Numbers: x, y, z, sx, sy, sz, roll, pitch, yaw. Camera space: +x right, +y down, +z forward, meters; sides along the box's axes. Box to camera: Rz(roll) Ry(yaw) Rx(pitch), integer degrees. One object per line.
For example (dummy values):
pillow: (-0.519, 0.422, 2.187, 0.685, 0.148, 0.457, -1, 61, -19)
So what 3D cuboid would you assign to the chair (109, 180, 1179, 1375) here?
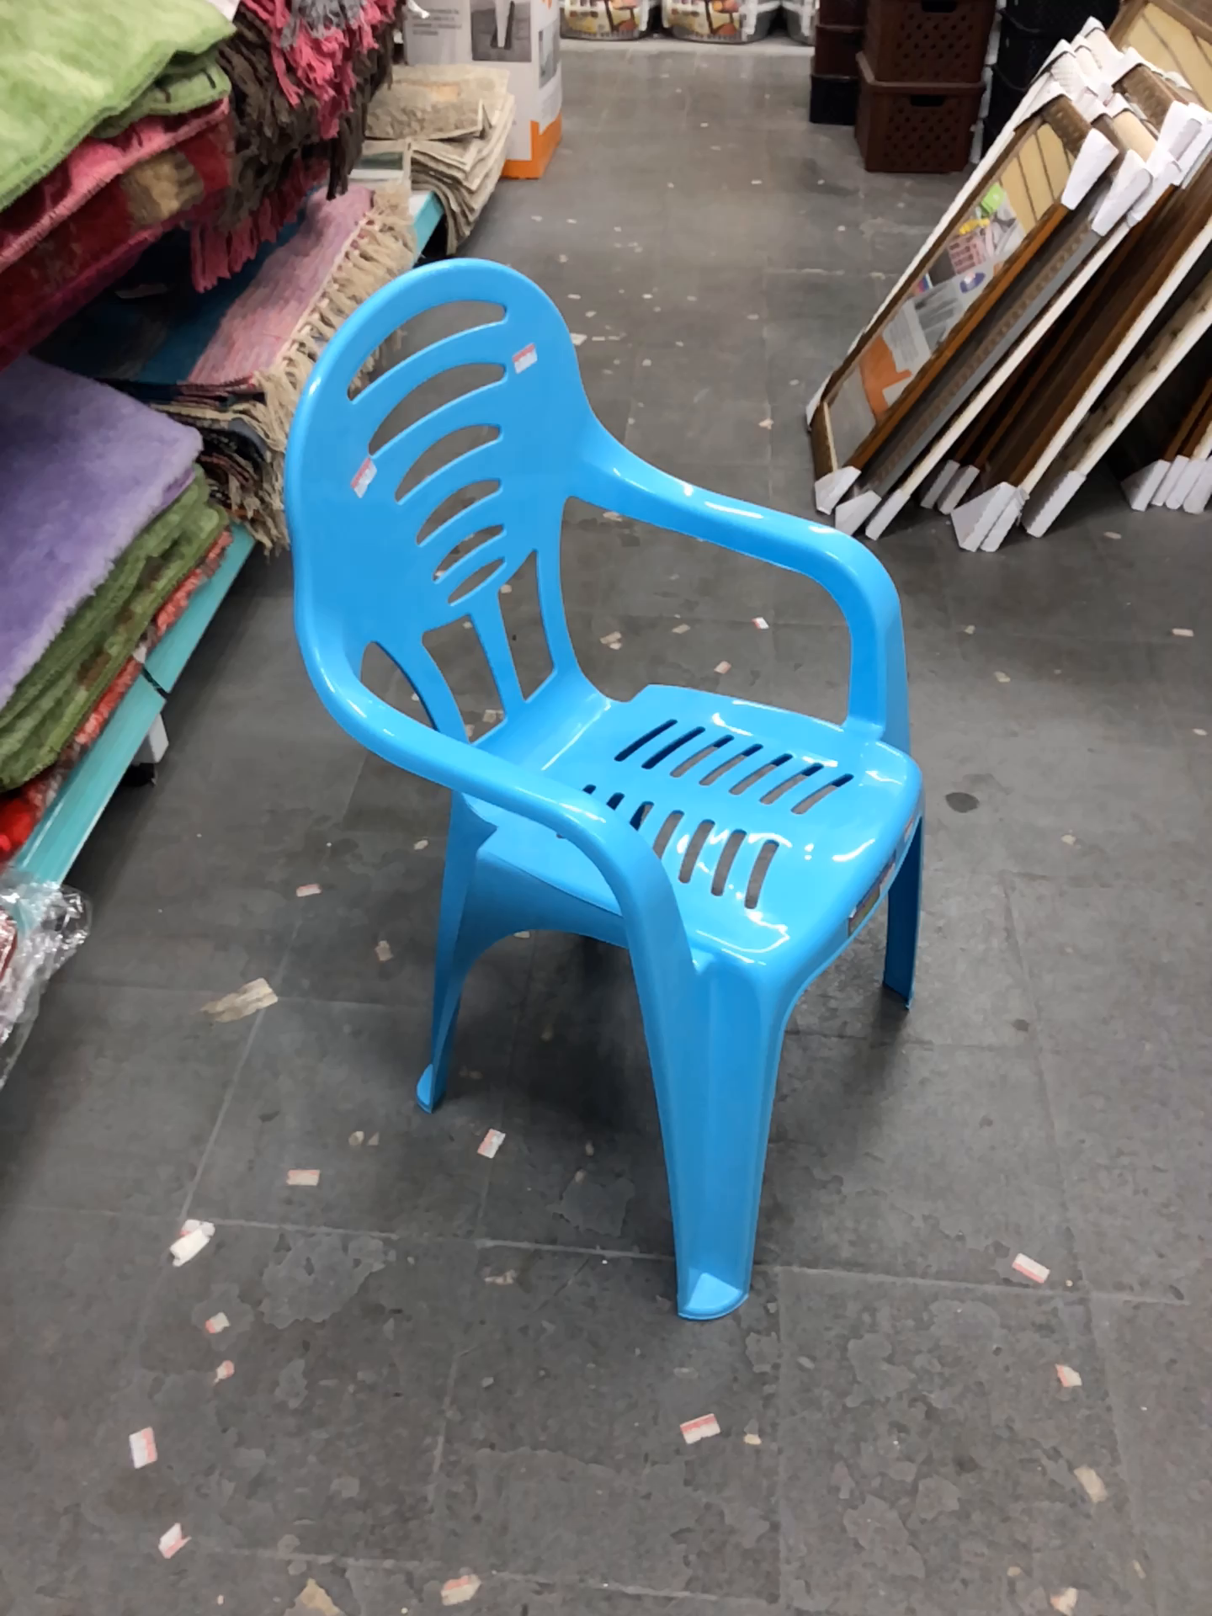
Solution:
chair: (0.035, -0.041, 0.832, 0.391, 0.516, 0.402, 22, 43, 23)
